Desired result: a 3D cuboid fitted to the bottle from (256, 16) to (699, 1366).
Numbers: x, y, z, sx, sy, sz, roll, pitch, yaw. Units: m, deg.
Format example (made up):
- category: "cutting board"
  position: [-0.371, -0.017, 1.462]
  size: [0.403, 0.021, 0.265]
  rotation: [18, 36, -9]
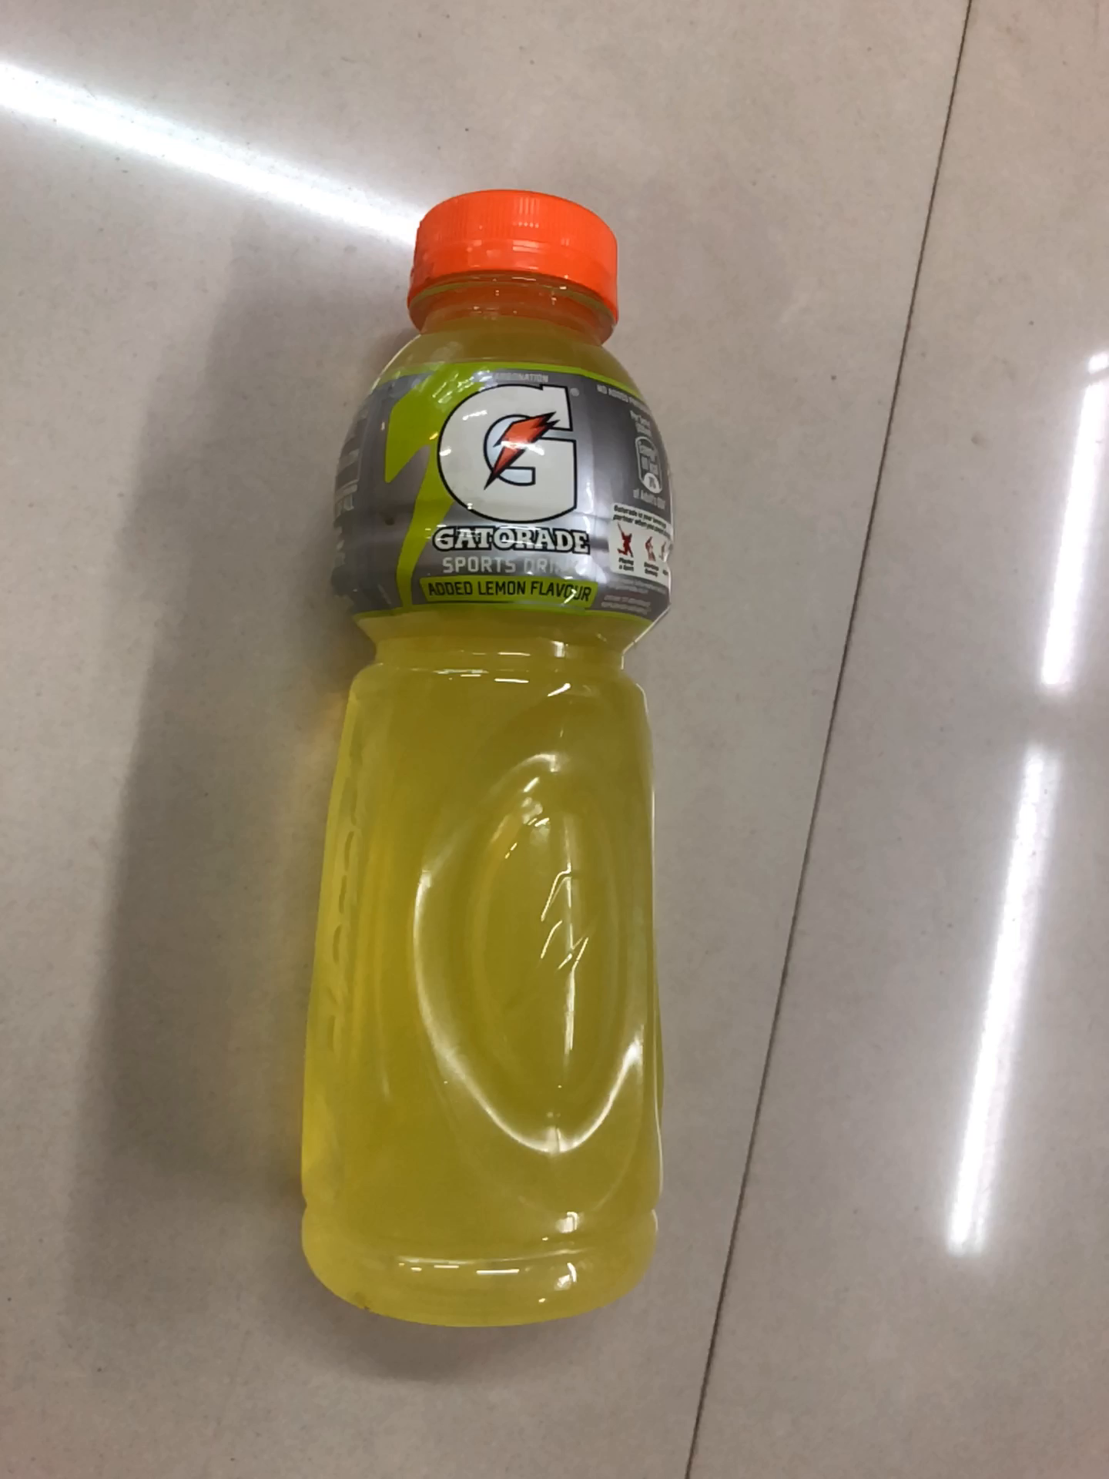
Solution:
- category: "bottle"
  position: [-0.019, -0.007, 0.250]
  size: [0.070, 0.060, 0.230]
  rotation: [2, 91, -16]
